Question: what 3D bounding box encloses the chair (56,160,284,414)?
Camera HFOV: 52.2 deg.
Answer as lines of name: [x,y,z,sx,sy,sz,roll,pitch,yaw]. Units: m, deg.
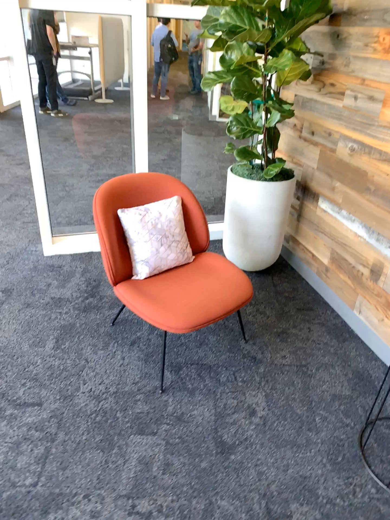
chair: [-0.139,0.056,1.900,0.701,0.795,0.703,-19,37,-34]
